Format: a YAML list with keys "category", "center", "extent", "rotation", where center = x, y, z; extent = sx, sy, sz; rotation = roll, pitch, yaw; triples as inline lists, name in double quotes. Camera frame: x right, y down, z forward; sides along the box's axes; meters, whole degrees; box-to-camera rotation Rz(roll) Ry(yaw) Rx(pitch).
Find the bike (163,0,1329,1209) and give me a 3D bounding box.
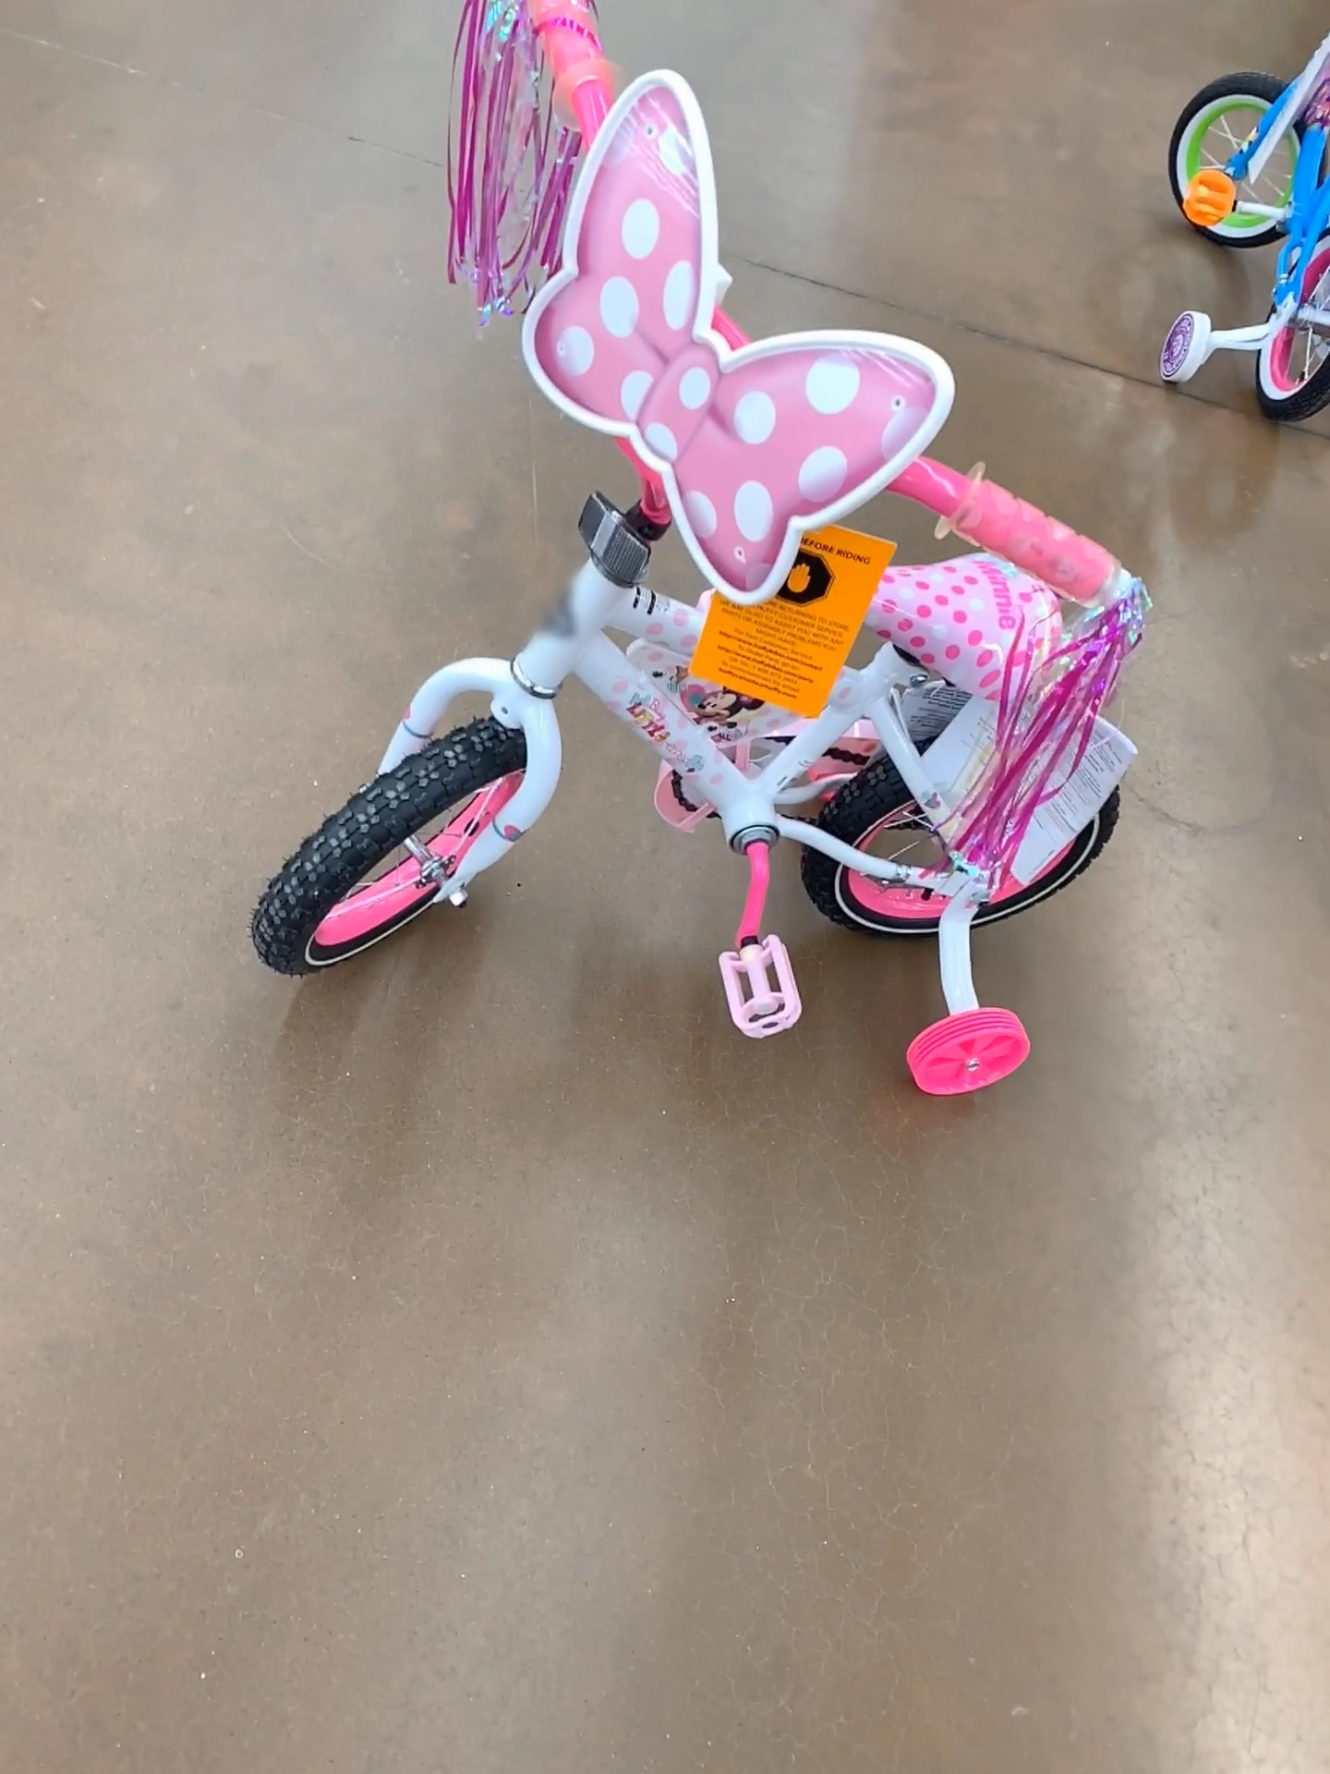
- category: "bike"
  center: [0.064, -0.184, 1.009]
  extent: [0.725, 0.648, 0.502]
  rotation: [-6, 55, -18]
